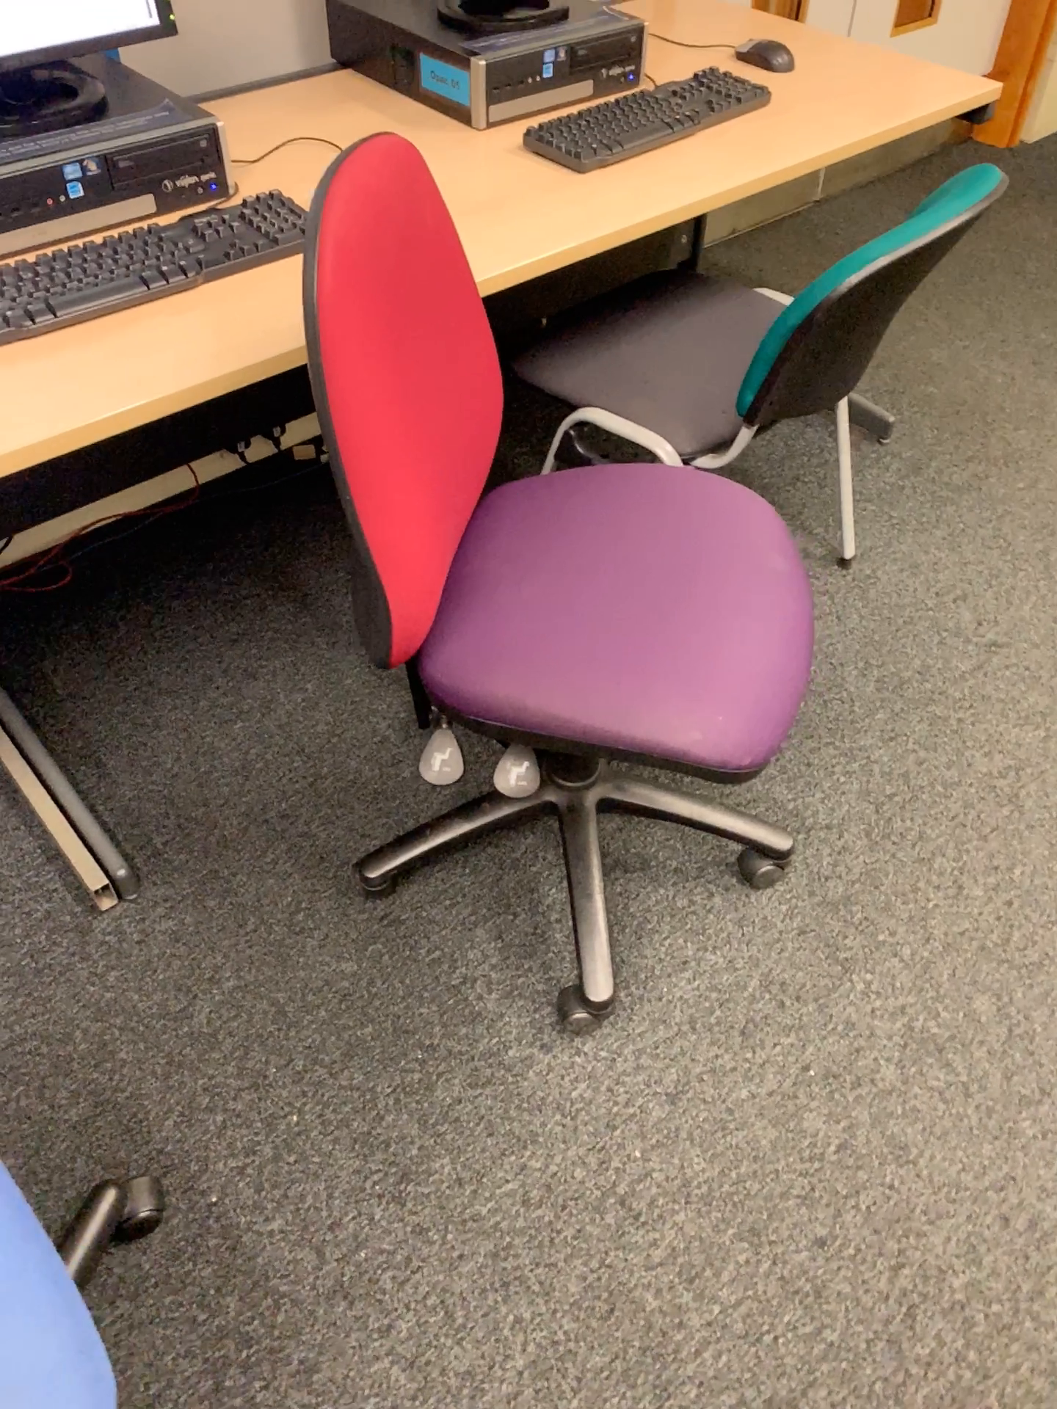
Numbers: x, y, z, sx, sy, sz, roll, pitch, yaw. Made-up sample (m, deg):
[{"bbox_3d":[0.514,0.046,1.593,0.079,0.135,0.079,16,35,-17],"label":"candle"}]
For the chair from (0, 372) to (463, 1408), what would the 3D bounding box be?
[{"bbox_3d":[-0.480,0.393,0.649,0.605,0.829,0.601,33,54,28],"label":"chair"}]

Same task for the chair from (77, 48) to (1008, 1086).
[{"bbox_3d":[0.058,-0.138,1.207,0.598,0.869,0.659,9,46,9],"label":"chair"}]
